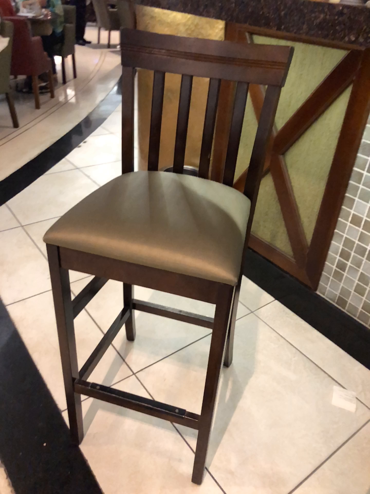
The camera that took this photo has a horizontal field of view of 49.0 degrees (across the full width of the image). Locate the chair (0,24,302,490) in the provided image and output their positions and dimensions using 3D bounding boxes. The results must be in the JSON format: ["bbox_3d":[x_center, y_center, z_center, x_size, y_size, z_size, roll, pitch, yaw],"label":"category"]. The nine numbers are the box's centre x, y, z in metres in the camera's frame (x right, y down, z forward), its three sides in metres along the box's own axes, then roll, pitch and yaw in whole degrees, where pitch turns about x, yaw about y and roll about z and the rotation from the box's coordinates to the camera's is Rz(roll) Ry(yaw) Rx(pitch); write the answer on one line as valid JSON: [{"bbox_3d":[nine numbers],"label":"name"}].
[{"bbox_3d":[-0.048,0.043,1.055,0.460,1.032,0.494,11,33,11],"label":"chair"}]
